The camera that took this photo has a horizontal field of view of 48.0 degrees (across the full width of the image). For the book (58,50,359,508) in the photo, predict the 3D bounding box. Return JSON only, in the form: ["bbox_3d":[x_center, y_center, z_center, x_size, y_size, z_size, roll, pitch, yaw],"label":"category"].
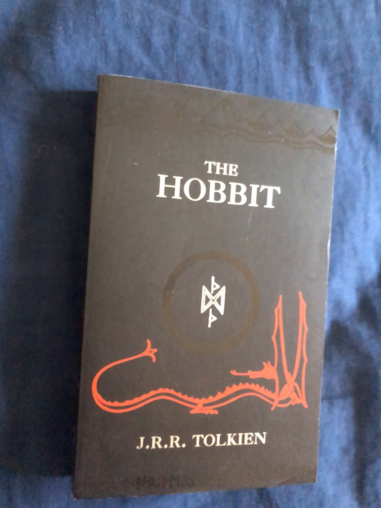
[{"bbox_3d":[0.009,0.015,0.197,0.120,0.040,0.180,4,88,-14],"label":"book"}]
